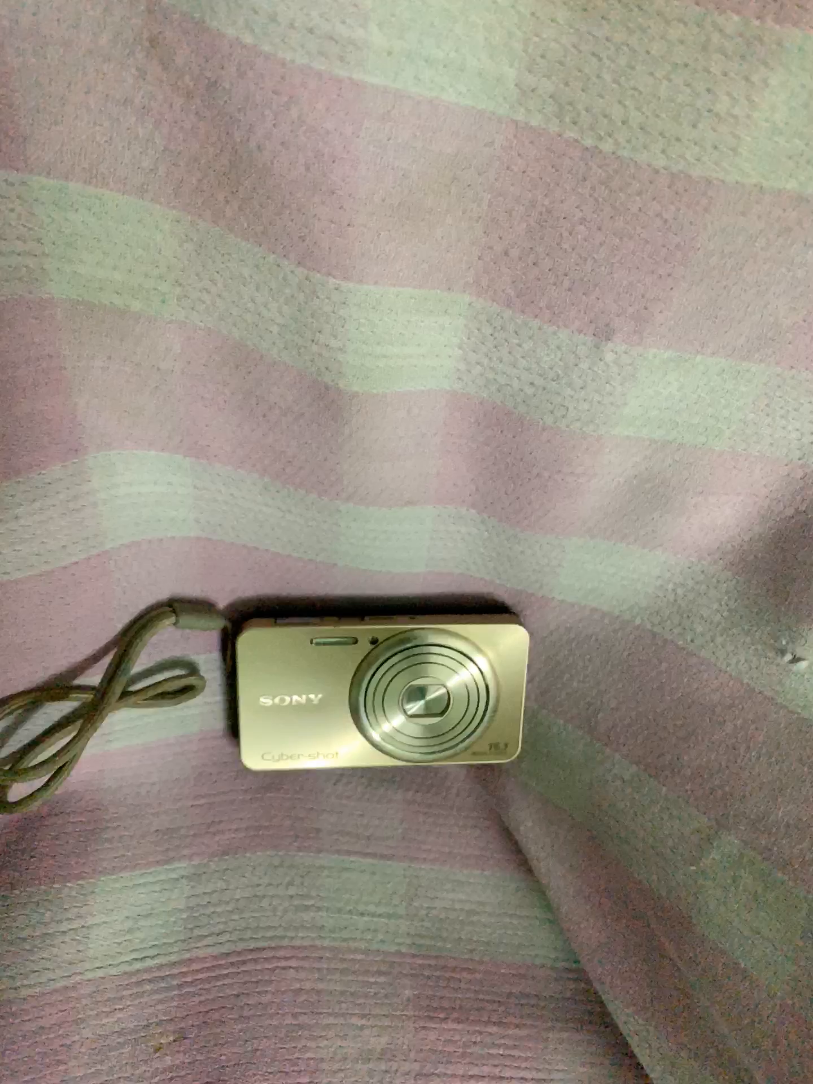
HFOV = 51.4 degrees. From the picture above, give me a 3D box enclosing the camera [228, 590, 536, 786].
[{"bbox_3d":[-0.008,0.046,0.272,0.091,0.027,0.053,-1,109,-5],"label":"camera"}]
